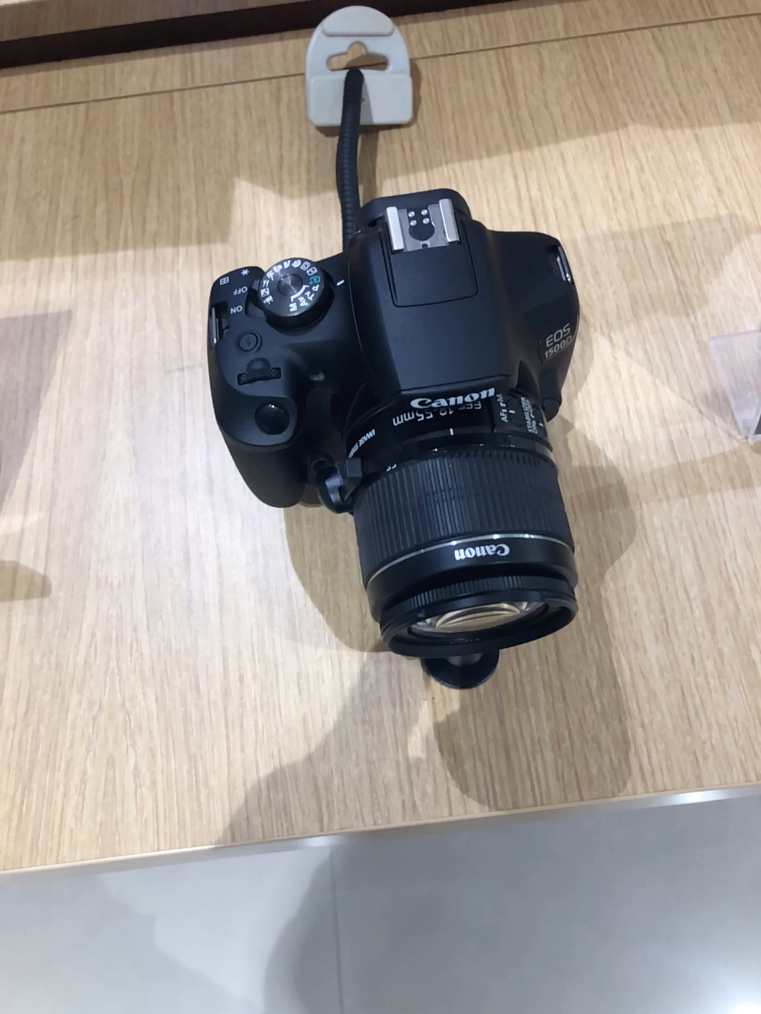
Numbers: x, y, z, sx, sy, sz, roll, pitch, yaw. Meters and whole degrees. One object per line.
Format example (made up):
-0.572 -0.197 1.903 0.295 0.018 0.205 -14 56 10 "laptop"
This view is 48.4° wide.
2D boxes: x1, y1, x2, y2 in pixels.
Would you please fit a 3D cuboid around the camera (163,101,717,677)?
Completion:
0.010 -0.033 0.268 0.130 0.090 0.140 -7 65 1 "camera"
